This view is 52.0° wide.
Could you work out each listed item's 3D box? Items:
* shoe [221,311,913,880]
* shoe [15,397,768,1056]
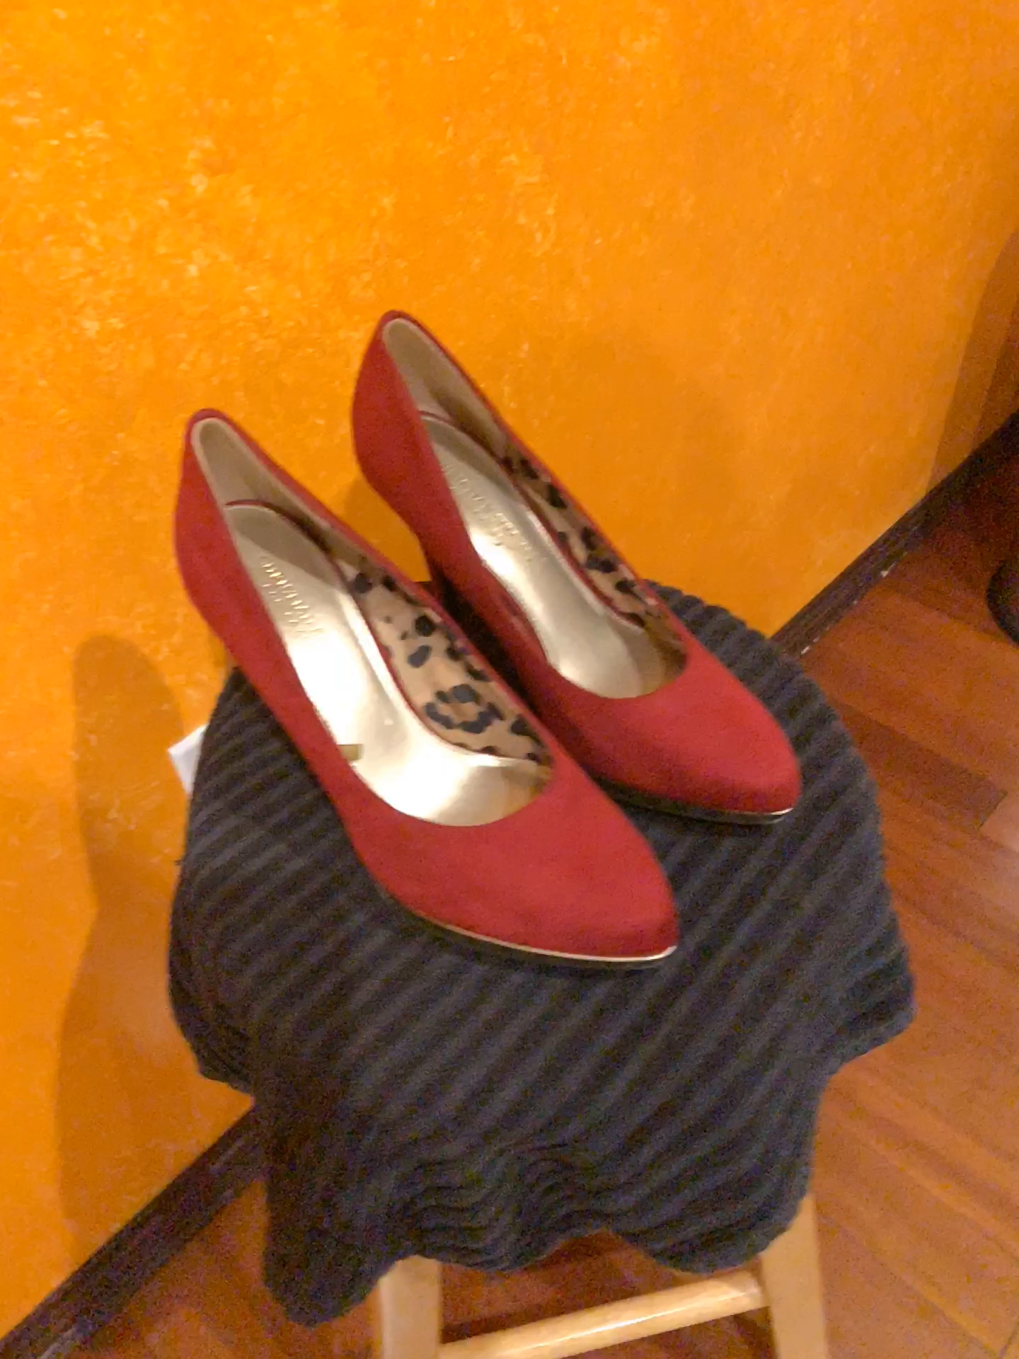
[{"bbox_3d":[0.009,-0.053,0.439,0.271,0.128,0.093,28,49,36],"label":"shoe"},{"bbox_3d":[-0.057,-0.005,0.408,0.291,0.119,0.100,27,48,35],"label":"shoe"}]
